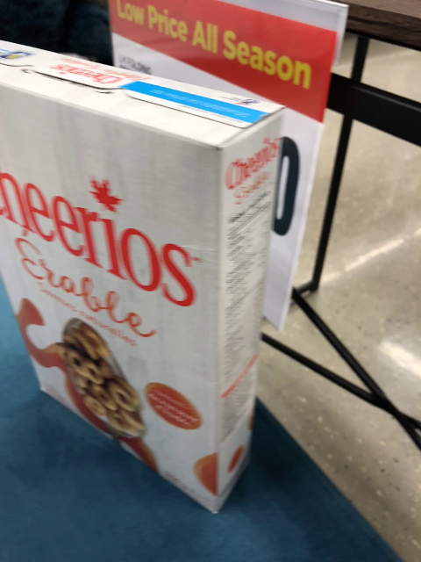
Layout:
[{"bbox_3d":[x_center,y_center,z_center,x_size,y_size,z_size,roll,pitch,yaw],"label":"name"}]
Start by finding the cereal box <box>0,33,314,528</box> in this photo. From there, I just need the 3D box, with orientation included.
[{"bbox_3d":[-0.062,0.010,0.304,0.210,0.269,0.060,24,45,26],"label":"cereal box"}]
